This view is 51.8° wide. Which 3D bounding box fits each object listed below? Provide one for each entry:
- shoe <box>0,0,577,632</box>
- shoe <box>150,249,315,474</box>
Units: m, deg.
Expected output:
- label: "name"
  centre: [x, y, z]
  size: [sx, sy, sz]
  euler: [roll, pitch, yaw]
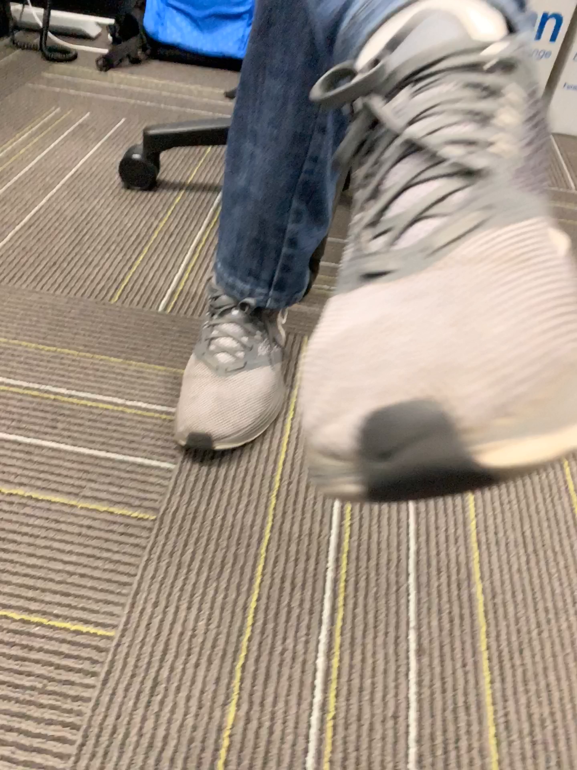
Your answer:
- label: "shoe"
  centre: [0.054, -0.072, 0.247]
  size: [0.122, 0.142, 0.296]
  euler: [-19, 21, 34]
- label: "shoe"
  centre: [-0.053, -0.041, 0.682]
  size: [0.120, 0.085, 0.270]
  euler: [11, 43, 3]
